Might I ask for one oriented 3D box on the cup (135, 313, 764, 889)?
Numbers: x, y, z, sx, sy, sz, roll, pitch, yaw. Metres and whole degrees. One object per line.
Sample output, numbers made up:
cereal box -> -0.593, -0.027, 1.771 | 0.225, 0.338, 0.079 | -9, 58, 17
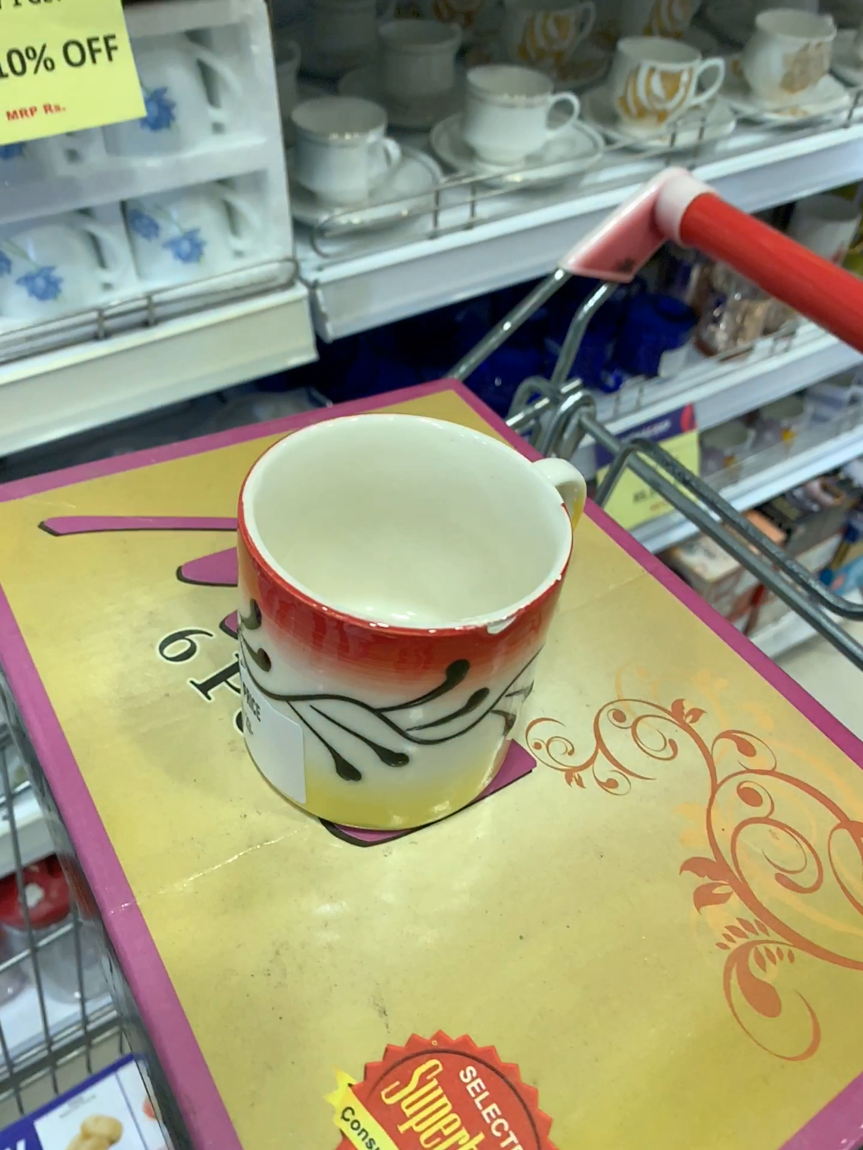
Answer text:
cup -> 0.002, -0.002, 0.215 | 0.110, 0.070, 0.080 | -24, 52, -32
